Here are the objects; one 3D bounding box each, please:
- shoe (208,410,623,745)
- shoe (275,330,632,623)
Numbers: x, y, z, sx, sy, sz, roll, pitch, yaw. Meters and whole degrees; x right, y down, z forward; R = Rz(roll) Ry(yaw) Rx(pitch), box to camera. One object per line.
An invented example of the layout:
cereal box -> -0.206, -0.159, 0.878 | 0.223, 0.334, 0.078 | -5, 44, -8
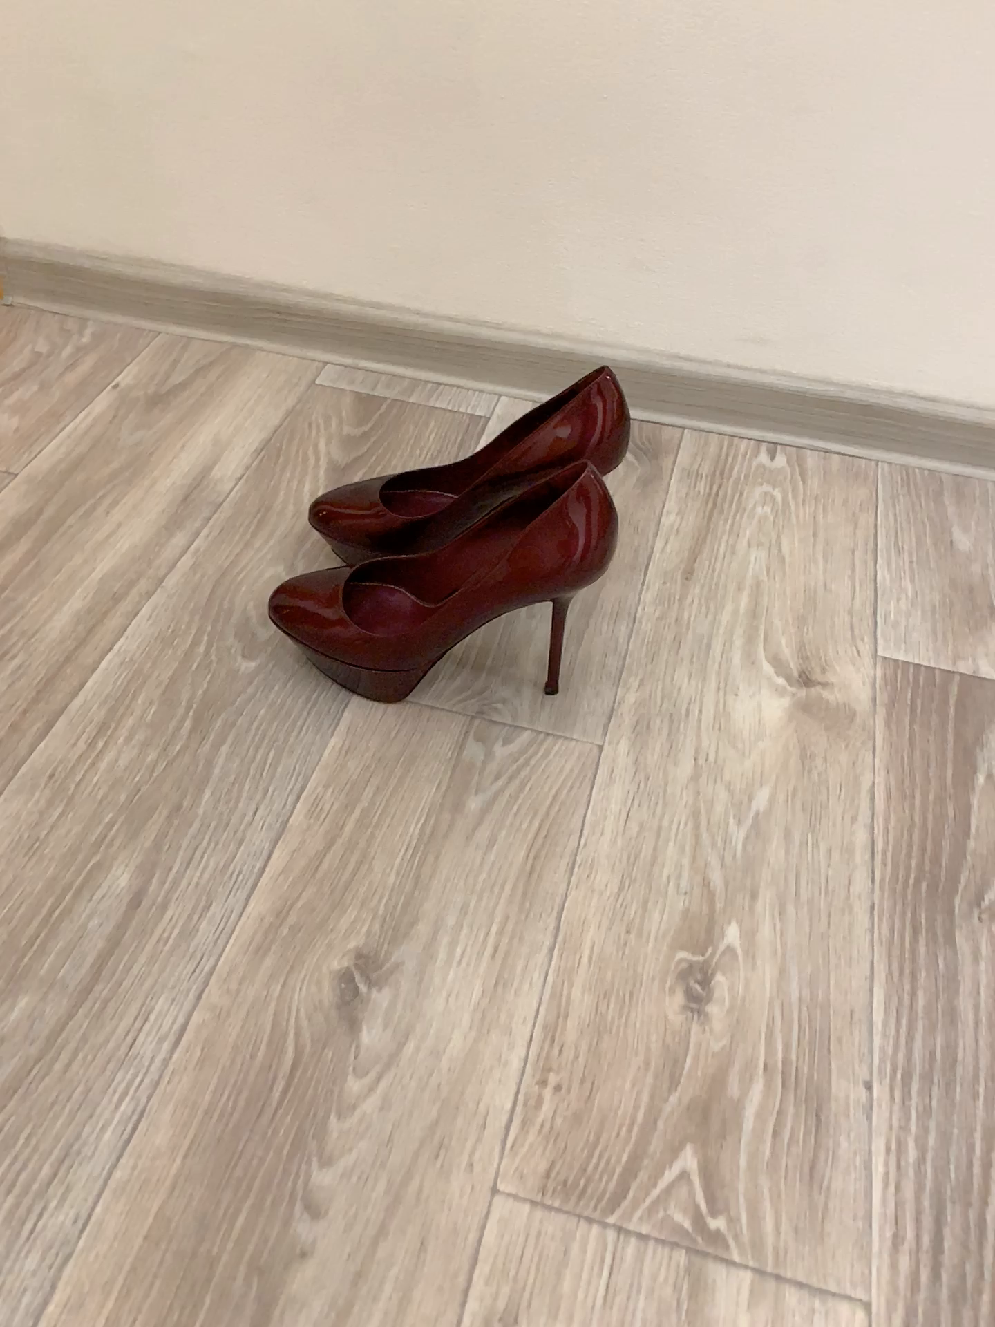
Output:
shoe -> -0.043, -0.049, 0.600 | 0.210, 0.149, 0.087 | 8, 44, 4
shoe -> -0.026, -0.122, 0.680 | 0.210, 0.149, 0.087 | 6, 44, 2
